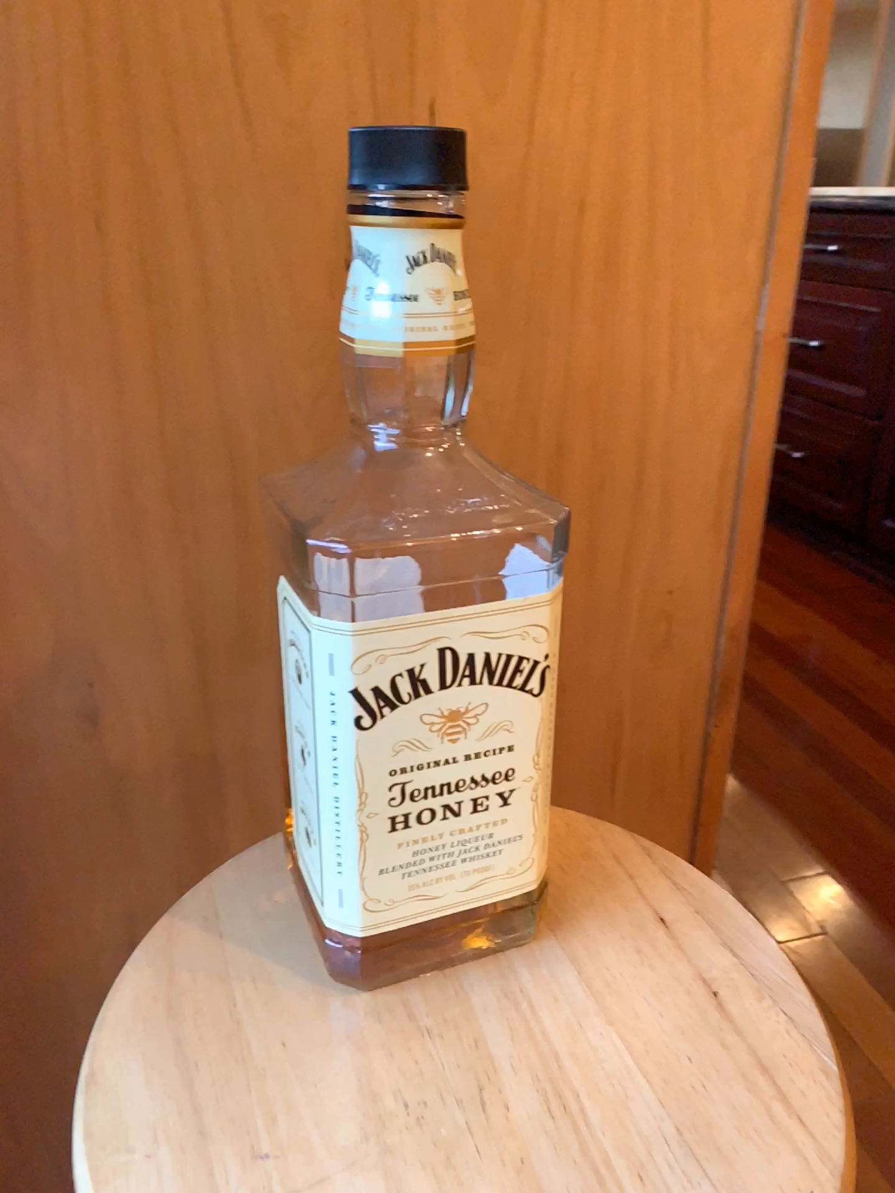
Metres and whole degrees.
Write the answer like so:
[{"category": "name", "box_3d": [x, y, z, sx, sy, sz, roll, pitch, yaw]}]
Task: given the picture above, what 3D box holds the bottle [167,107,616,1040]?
[{"category": "bottle", "box_3d": [-0.024, -0.003, 0.365, 0.120, 0.328, 0.100, -9, 25, -20]}]
